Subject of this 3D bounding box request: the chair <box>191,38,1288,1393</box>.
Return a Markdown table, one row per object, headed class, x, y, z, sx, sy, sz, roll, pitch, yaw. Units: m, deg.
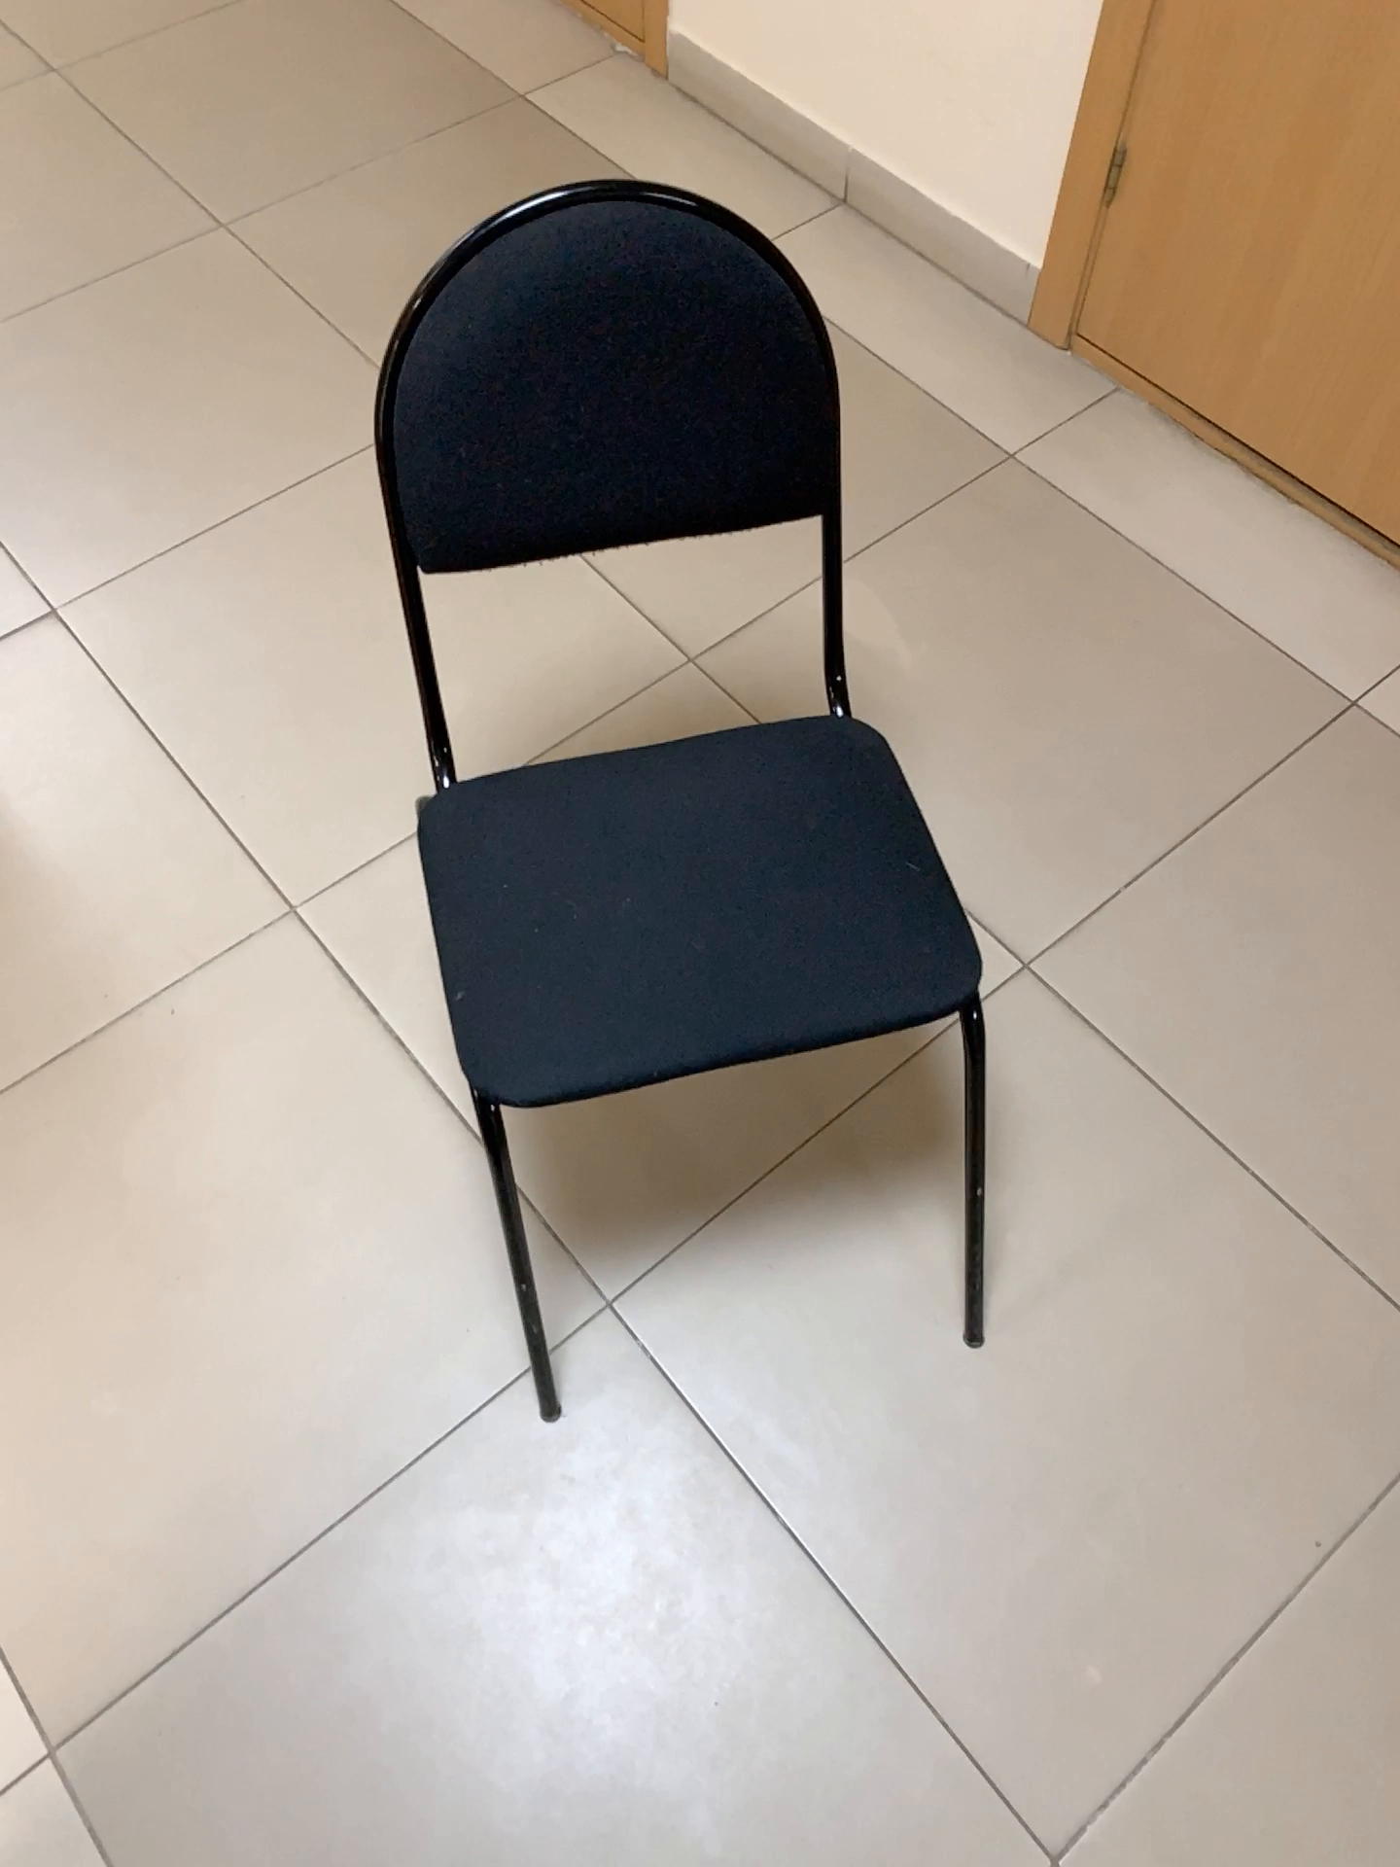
| class | x | y | z | sx | sy | sz | roll | pitch | yaw |
| --- | --- | --- | --- | --- | --- | --- | --- | --- | --- |
| chair | -0.035 | -0.115 | 1.161 | 0.480 | 0.775 | 0.694 | -12 | 60 | -7 |
